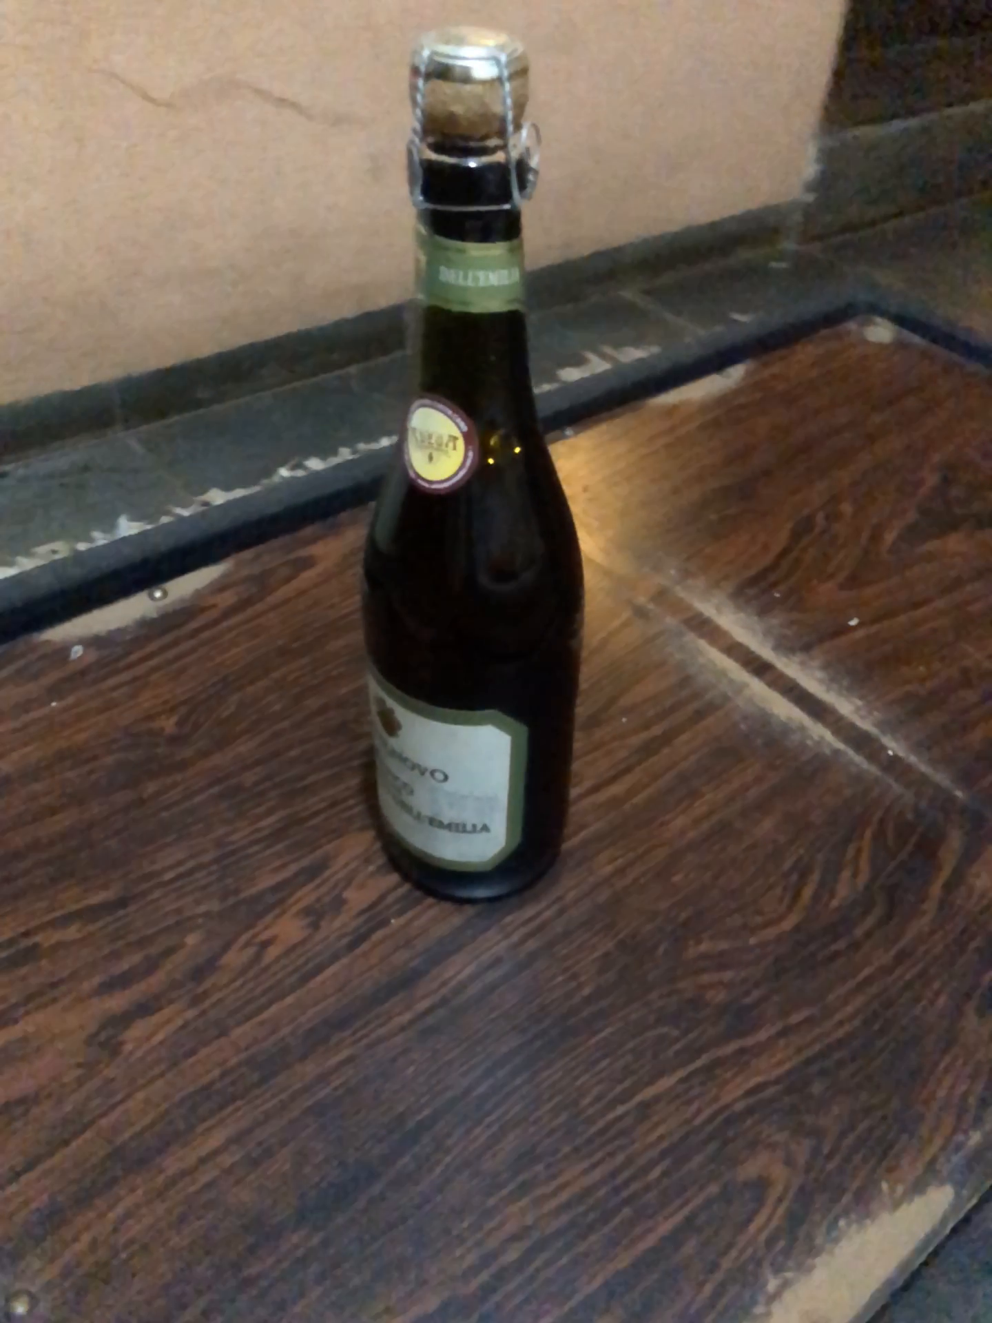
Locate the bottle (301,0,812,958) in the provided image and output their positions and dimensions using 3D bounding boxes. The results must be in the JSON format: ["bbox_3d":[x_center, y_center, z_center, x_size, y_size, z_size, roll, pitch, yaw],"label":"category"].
[{"bbox_3d":[0.002,-0.040,0.363,0.090,0.298,0.090,3,41,-3],"label":"bottle"}]
